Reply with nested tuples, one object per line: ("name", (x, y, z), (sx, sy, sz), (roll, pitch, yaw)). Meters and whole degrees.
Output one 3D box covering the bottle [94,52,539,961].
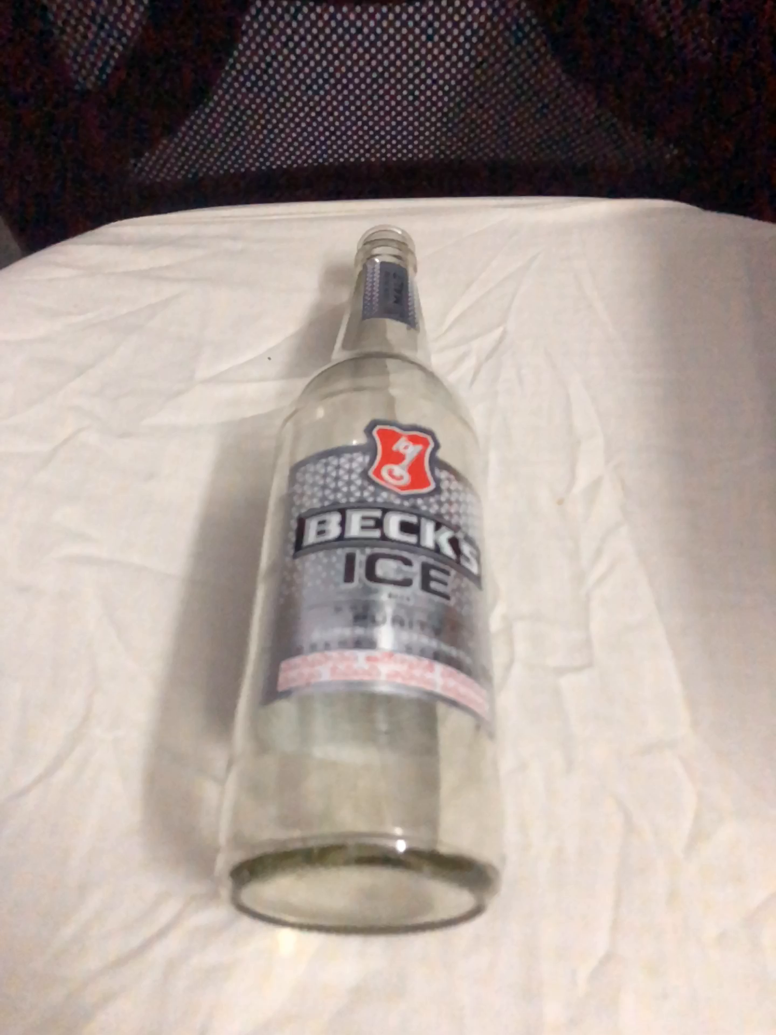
("bottle", (-0.010, -0.025, 0.262), (0.080, 0.080, 0.281), (-1, 57, 2))
